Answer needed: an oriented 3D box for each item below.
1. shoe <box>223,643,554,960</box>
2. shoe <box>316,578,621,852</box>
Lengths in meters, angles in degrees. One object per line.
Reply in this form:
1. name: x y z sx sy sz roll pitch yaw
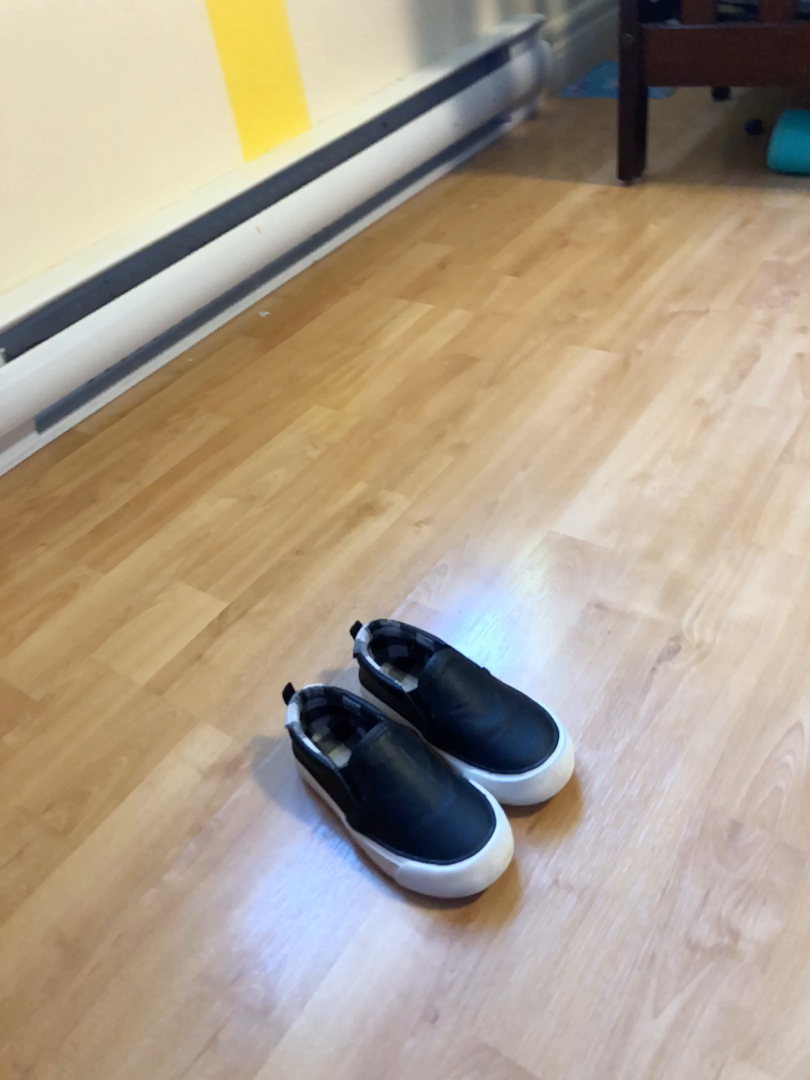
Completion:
1. shoe: -0.012 0.143 0.517 0.181 0.060 0.080 26 52 36
2. shoe: 0.038 0.104 0.568 0.181 0.060 0.080 27 53 36
